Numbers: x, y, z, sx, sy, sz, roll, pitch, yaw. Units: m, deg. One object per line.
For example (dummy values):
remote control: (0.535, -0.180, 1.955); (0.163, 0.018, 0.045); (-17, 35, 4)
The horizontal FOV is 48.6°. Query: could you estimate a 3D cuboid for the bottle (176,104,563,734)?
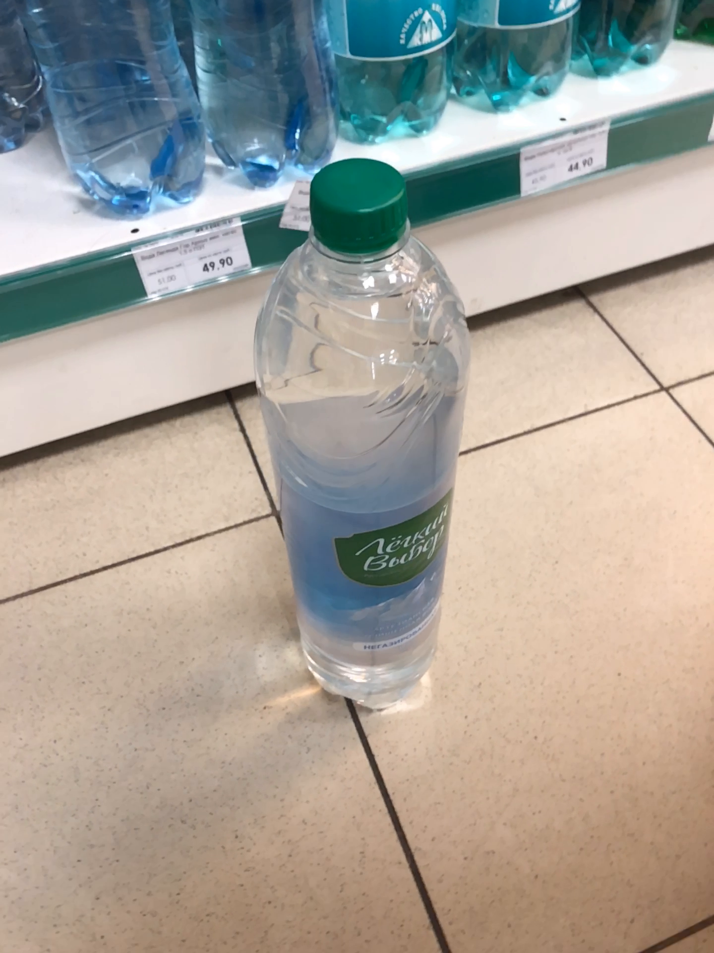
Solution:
bottle: (0.006, 0.006, 0.363); (0.089, 0.299, 0.086); (-1, 52, 1)
